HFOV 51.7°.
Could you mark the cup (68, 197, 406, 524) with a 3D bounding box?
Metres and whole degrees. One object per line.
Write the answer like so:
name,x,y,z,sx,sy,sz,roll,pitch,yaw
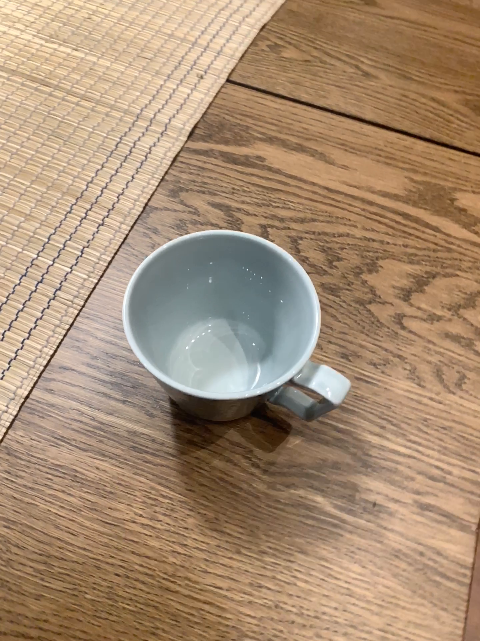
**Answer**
cup,-0.002,0.025,0.304,0.140,0.100,0.110,35,64,16
